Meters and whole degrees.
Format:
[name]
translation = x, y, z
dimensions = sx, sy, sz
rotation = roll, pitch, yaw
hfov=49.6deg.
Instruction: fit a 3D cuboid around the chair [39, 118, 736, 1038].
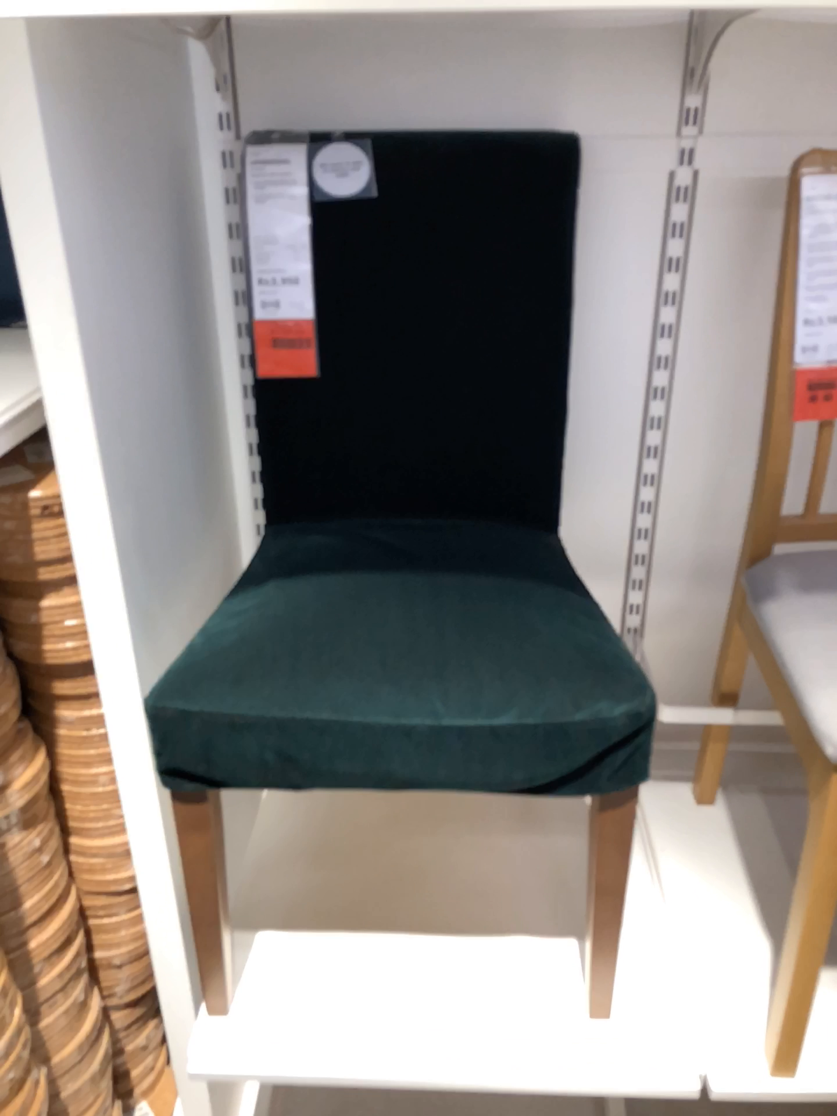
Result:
[chair]
translation = -0.016, 0.006, 1.039
dimensions = 0.470, 0.914, 0.513
rotation = 0, 26, 1
